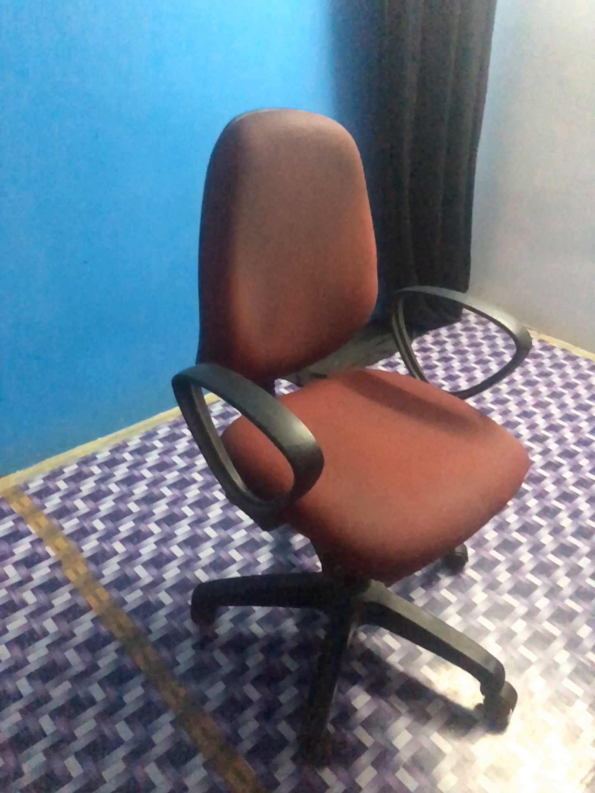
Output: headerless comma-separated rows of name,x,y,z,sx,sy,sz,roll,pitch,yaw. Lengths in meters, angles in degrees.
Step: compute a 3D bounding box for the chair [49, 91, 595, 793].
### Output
chair,0.130,0.028,1.104,0.703,0.895,0.741,-20,38,-34
